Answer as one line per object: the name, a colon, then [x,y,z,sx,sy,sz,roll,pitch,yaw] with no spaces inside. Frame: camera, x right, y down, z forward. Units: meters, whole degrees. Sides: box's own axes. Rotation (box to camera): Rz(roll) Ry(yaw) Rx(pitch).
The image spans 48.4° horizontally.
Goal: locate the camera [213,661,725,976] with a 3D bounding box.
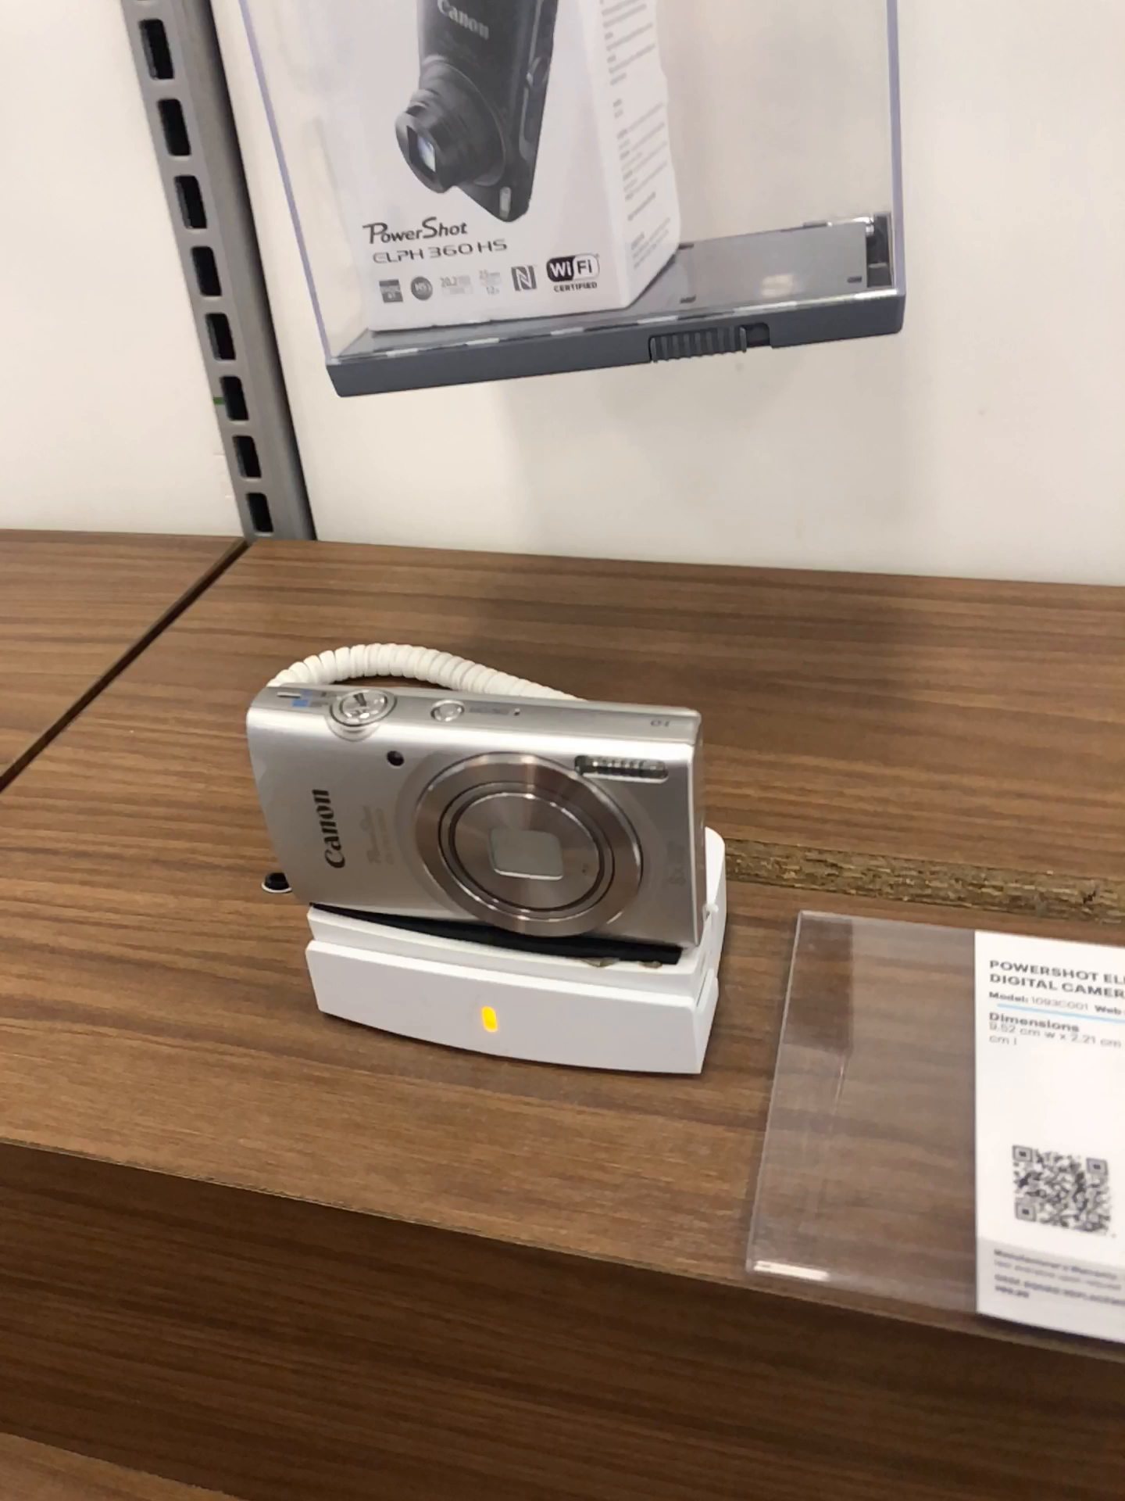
camera: [-0.017,0.014,0.267,0.100,0.060,0.020,5,40,15]
